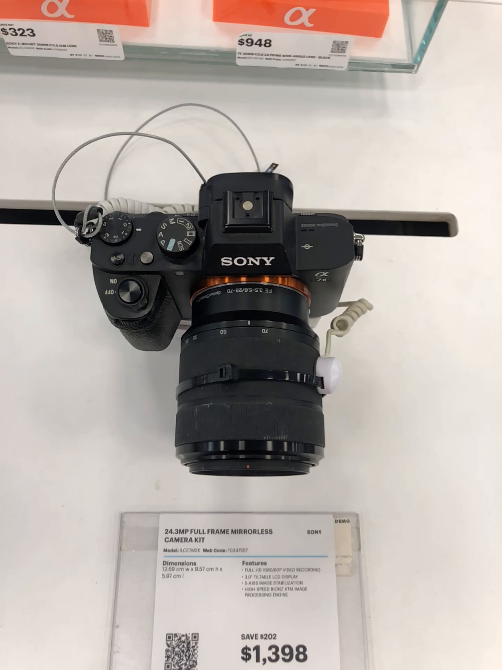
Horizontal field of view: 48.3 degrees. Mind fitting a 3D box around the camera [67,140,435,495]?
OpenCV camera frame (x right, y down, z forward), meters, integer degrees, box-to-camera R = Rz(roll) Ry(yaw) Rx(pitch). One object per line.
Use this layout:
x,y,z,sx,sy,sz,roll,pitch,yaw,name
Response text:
-0.005,-0.004,0.285,0.140,0.100,0.150,-2,70,-4,camera
